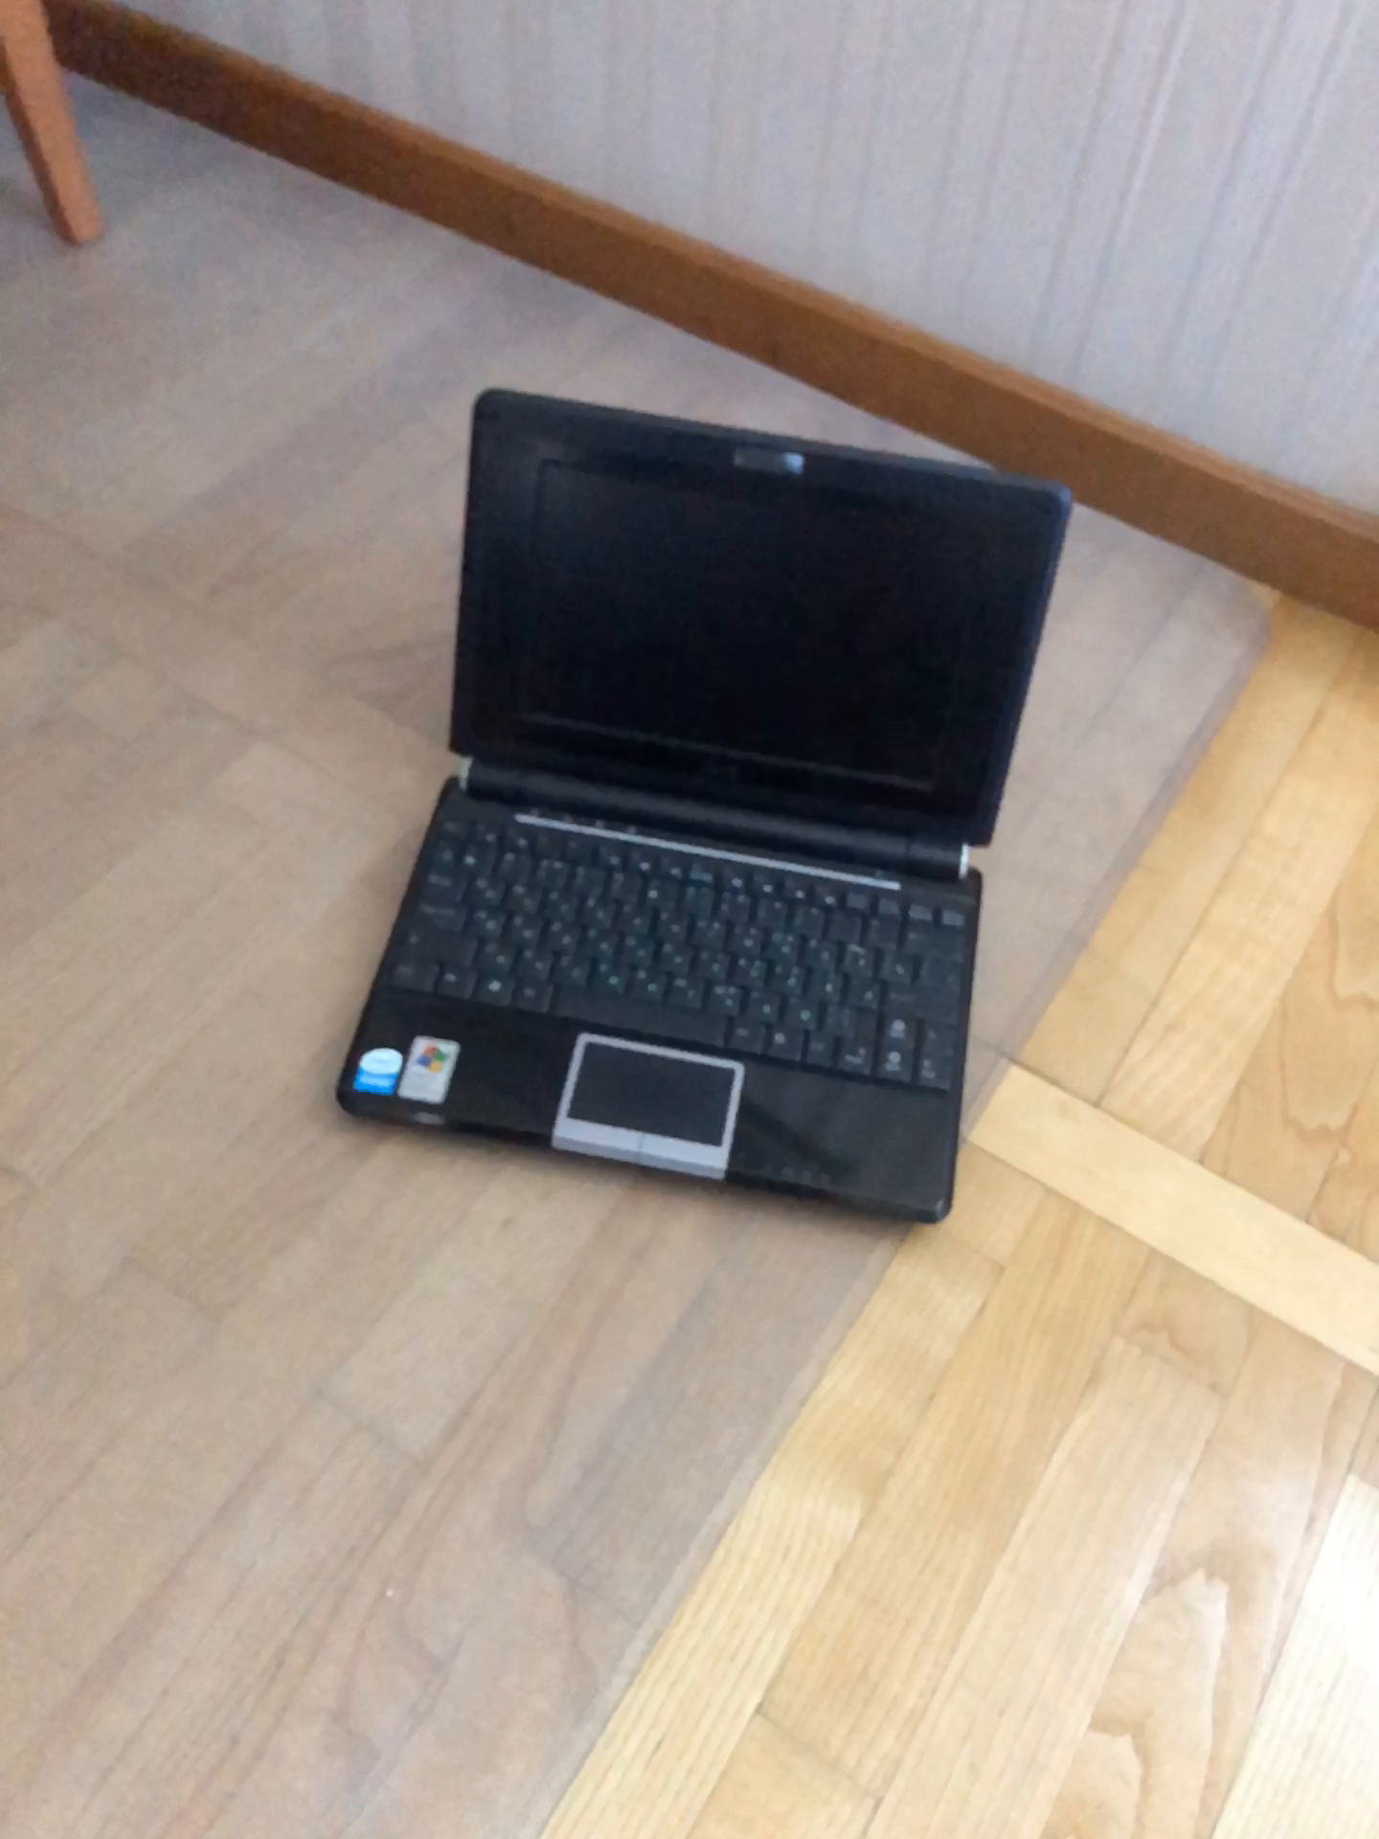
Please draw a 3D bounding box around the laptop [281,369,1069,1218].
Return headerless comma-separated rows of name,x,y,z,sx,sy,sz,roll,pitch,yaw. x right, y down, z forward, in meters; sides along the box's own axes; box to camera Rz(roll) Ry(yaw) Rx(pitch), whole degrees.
laptop,0.007,-0.060,0.661,0.263,0.159,0.278,11,55,3
